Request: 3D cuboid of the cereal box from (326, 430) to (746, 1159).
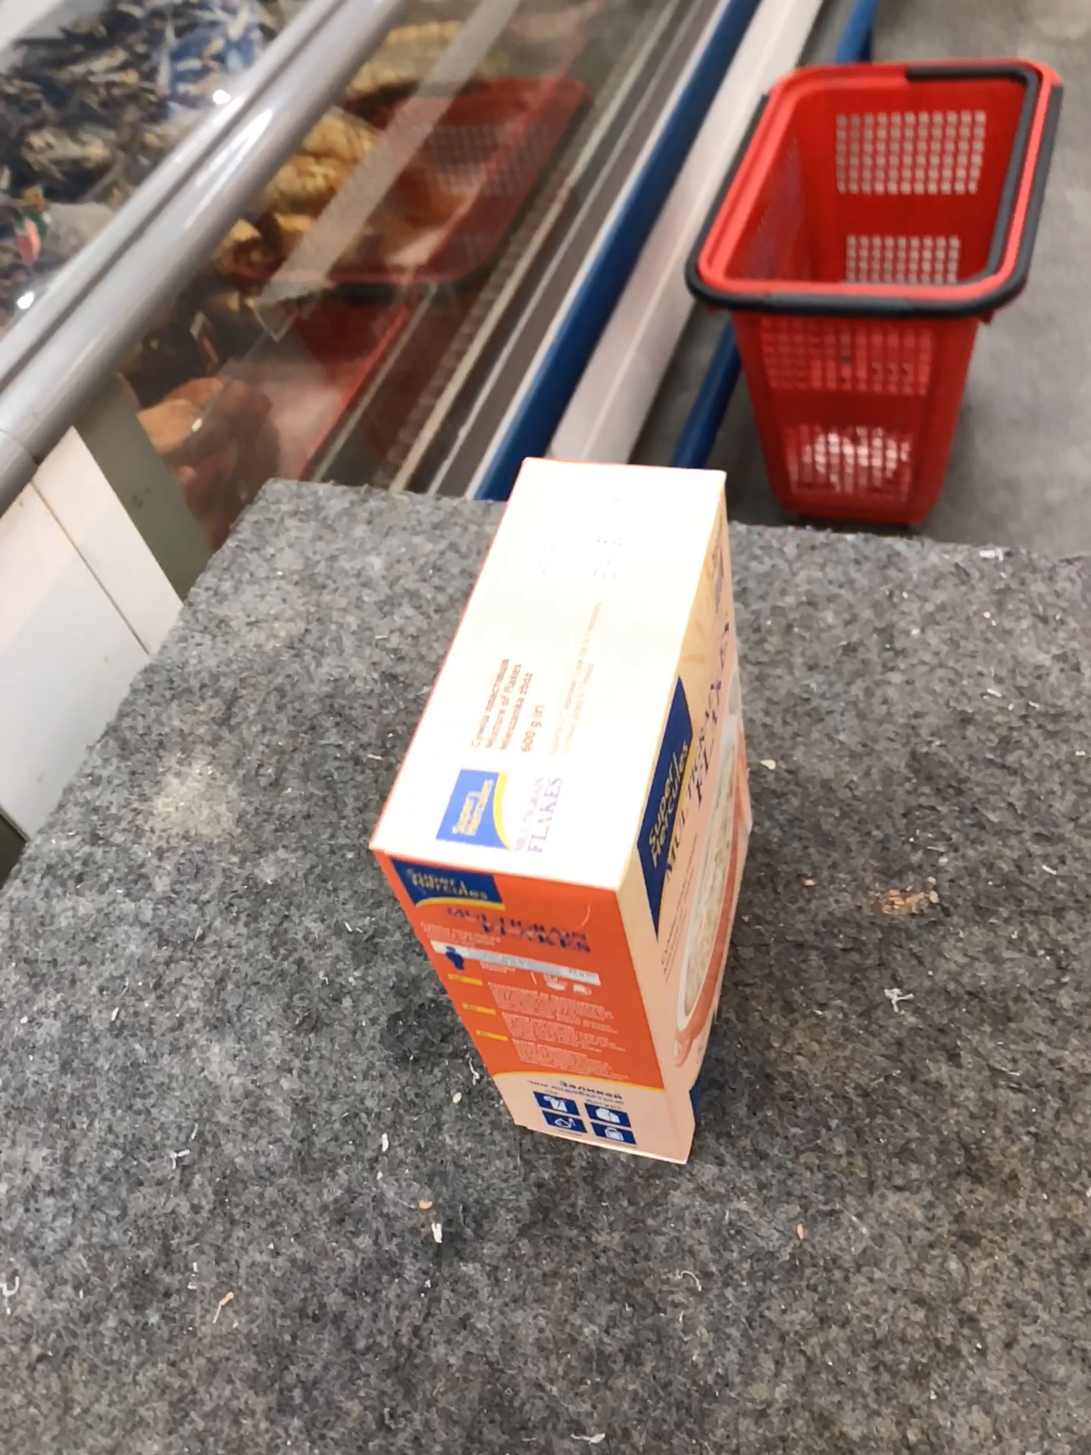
[{"bbox_3d":[0.016,0.029,0.404,0.070,0.199,0.151,6,54,17],"label":"cereal box"}]
